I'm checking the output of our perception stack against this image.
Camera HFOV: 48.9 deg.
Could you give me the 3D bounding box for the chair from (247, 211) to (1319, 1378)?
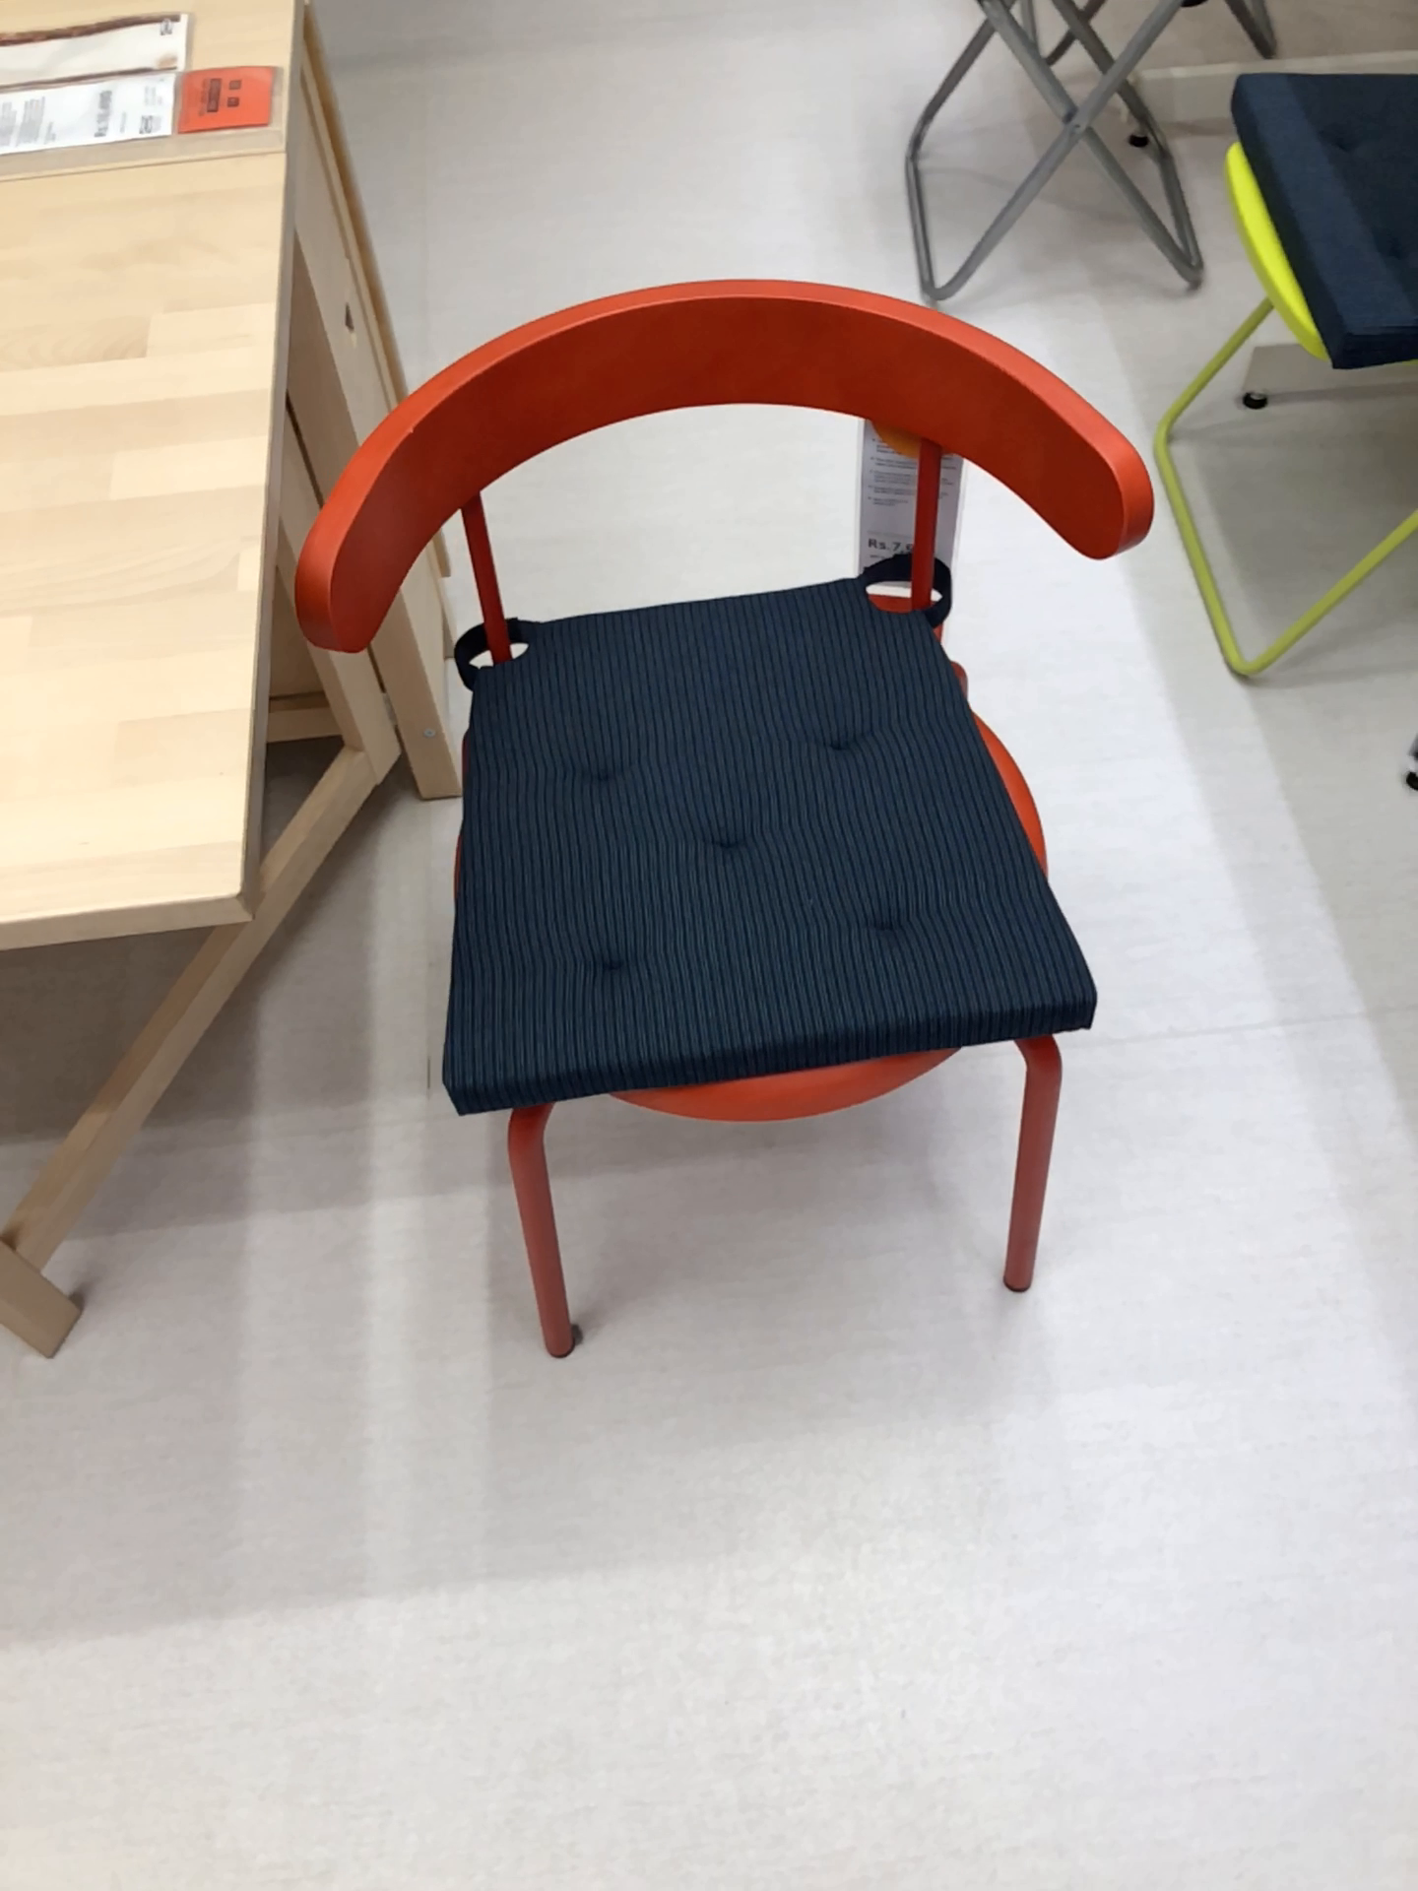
[{"bbox_3d":[0.020,-0.060,1.170,0.520,0.677,0.502,-7,58,-2],"label":"chair"}]
